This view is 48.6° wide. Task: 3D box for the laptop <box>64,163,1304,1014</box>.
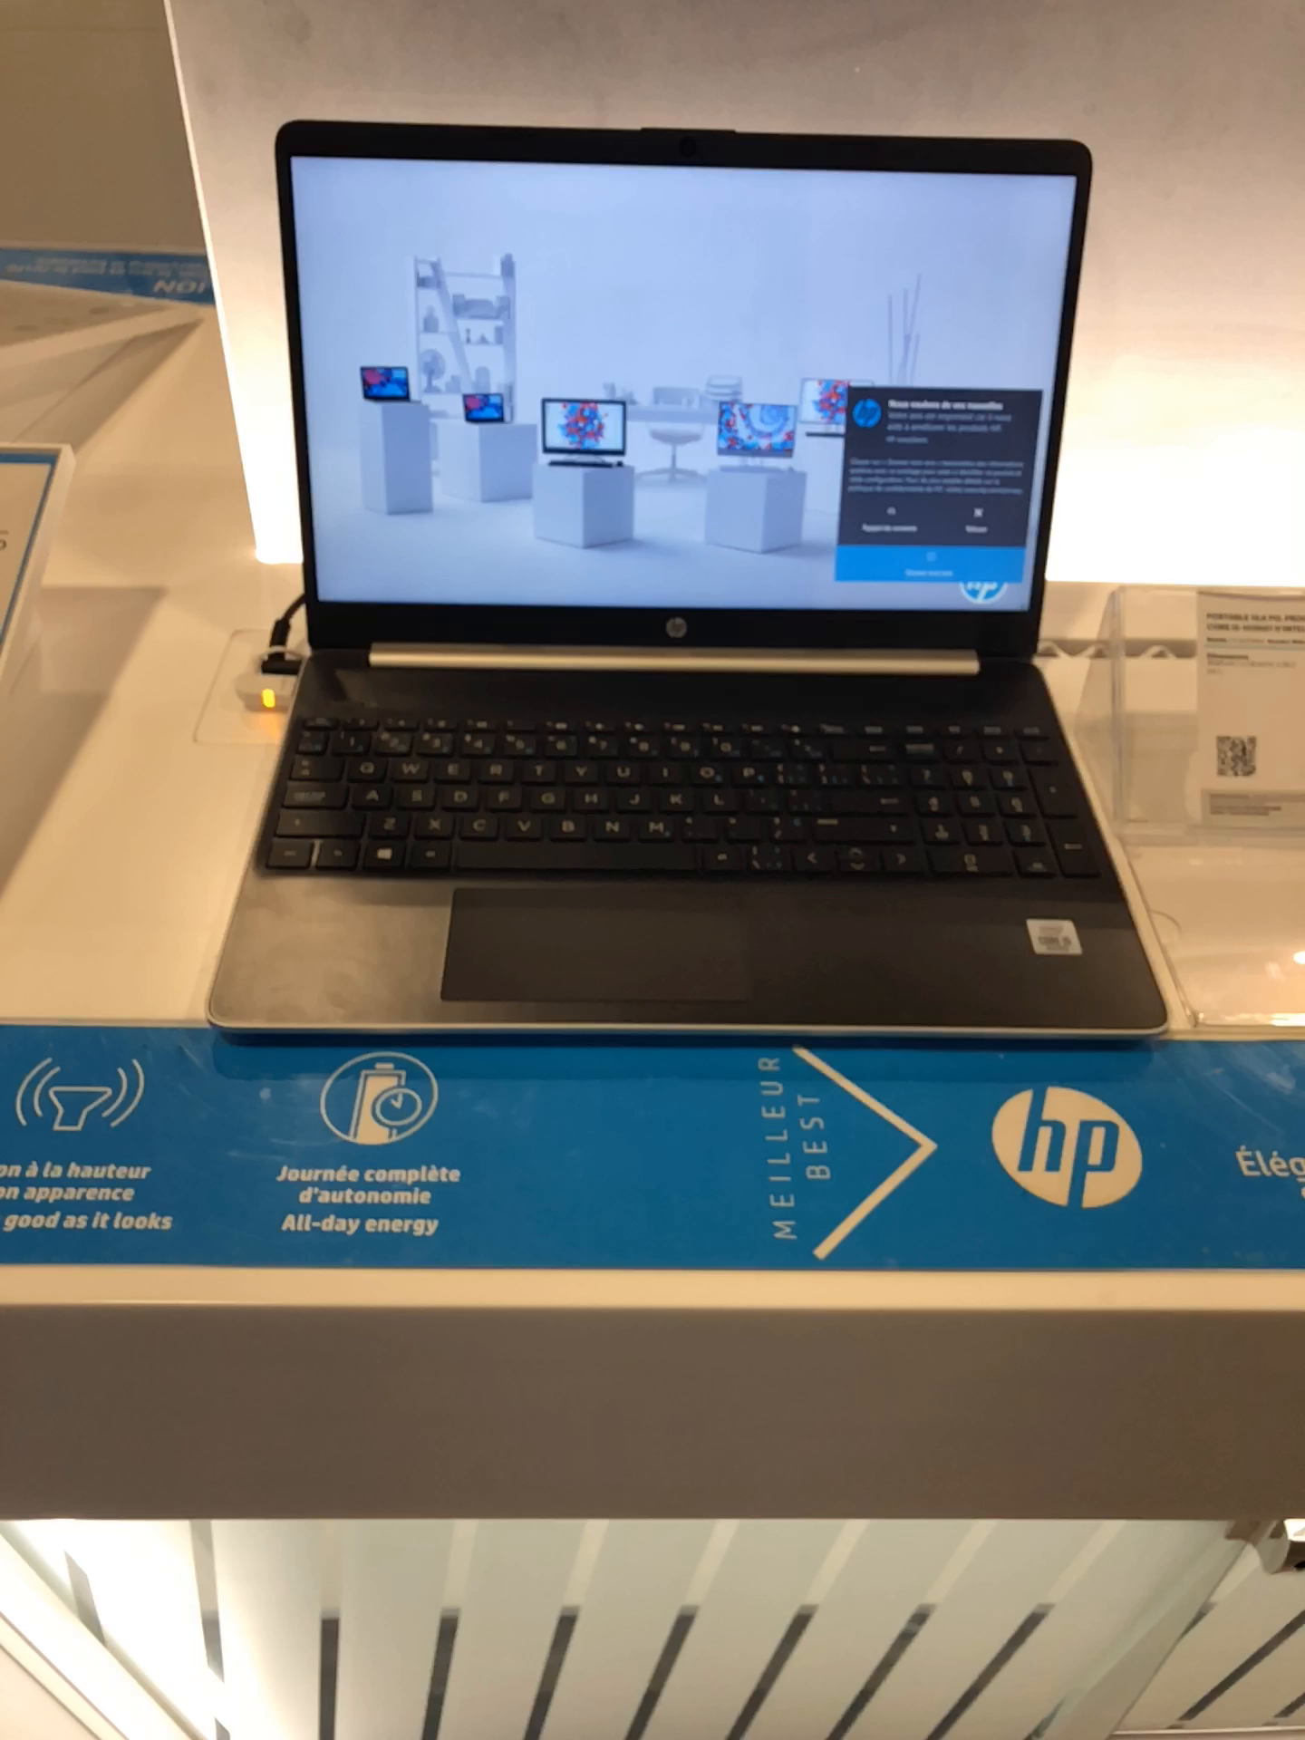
[{"bbox_3d":[0.012,-0.127,0.572,0.336,0.206,0.317,1,40,-1],"label":"laptop"}]
